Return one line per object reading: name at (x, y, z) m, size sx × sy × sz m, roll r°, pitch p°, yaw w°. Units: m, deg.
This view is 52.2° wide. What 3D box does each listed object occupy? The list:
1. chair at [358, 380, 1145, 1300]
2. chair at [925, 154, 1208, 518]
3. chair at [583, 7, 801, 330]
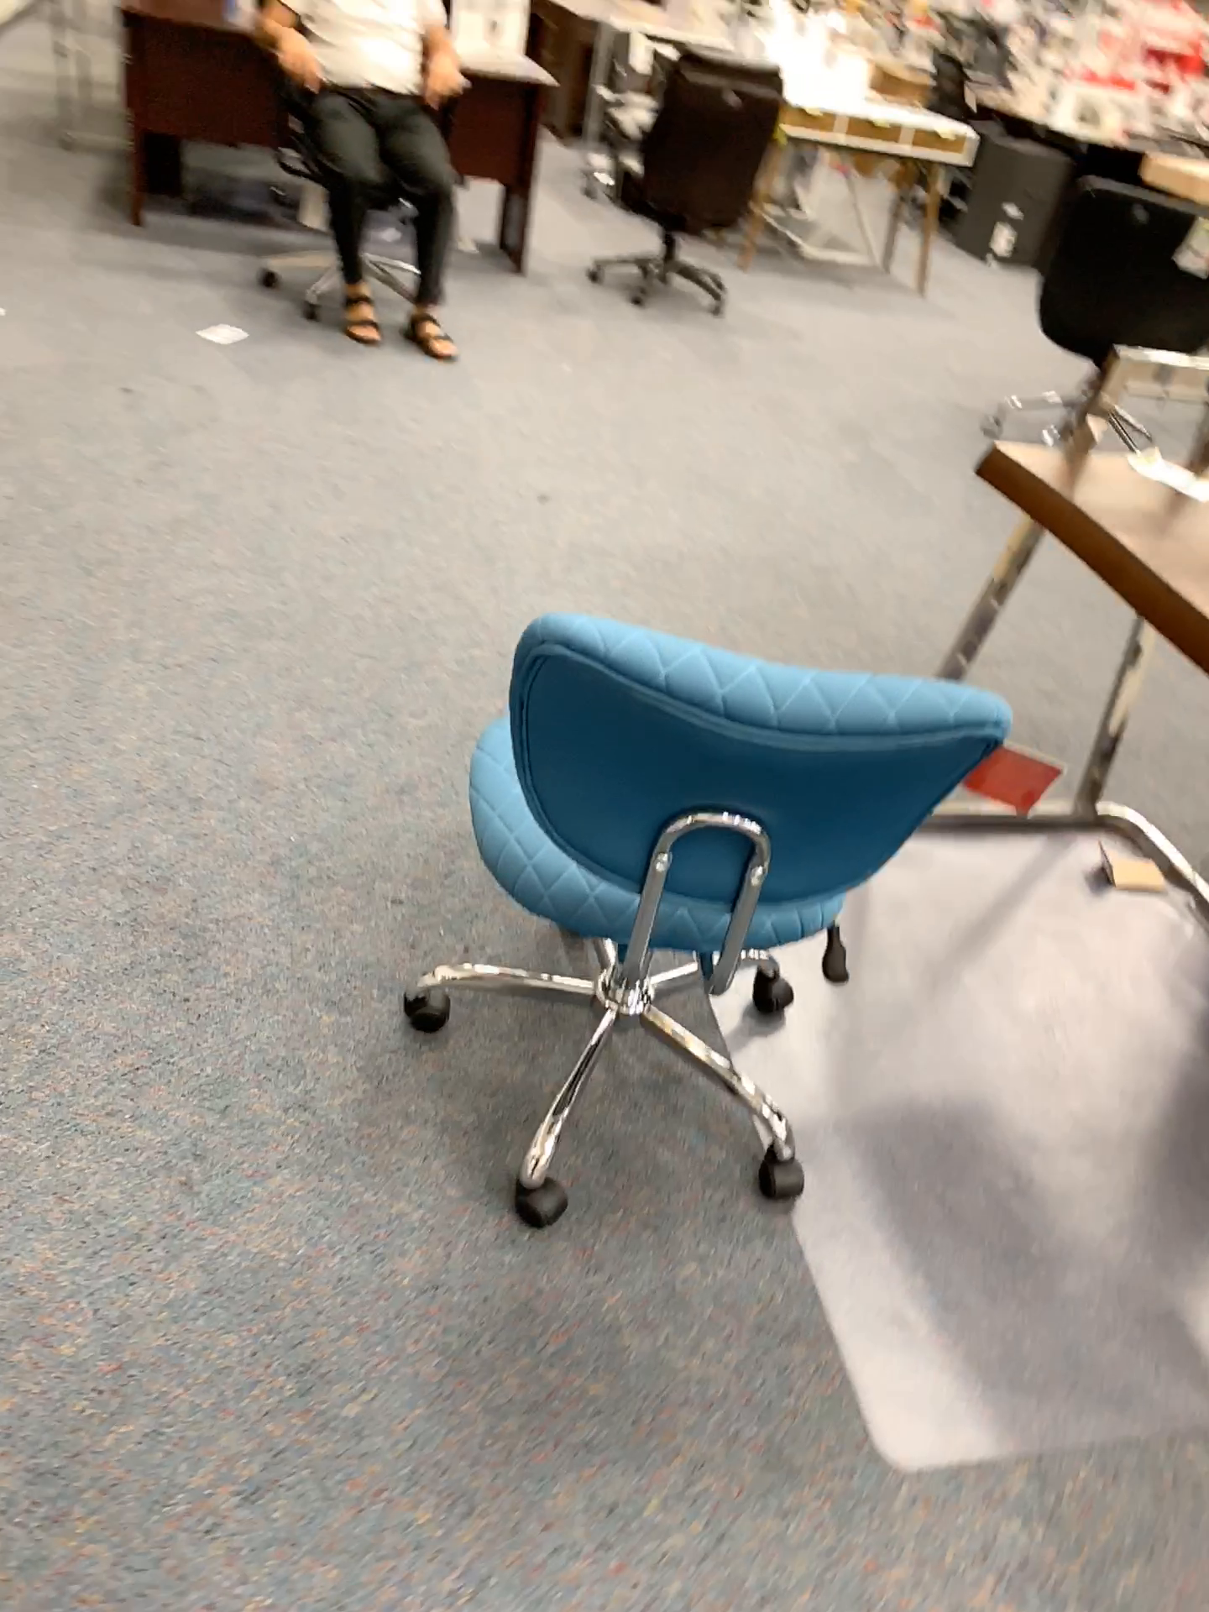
chair at (0.088, 0.031, 1.474) m, size 0.598 × 0.775 × 0.668 m, roll 9°, pitch 35°, yaw -5°
chair at (1.863, -1.700, 4.306) m, size 0.699 × 0.874 × 1.440 m, roll 30°, pitch 39°, yaw 24°
chair at (0.305, -2.586, 4.995) m, size 0.638 × 0.954 × 0.859 m, roll 8°, pitch 35°, yaw -6°
